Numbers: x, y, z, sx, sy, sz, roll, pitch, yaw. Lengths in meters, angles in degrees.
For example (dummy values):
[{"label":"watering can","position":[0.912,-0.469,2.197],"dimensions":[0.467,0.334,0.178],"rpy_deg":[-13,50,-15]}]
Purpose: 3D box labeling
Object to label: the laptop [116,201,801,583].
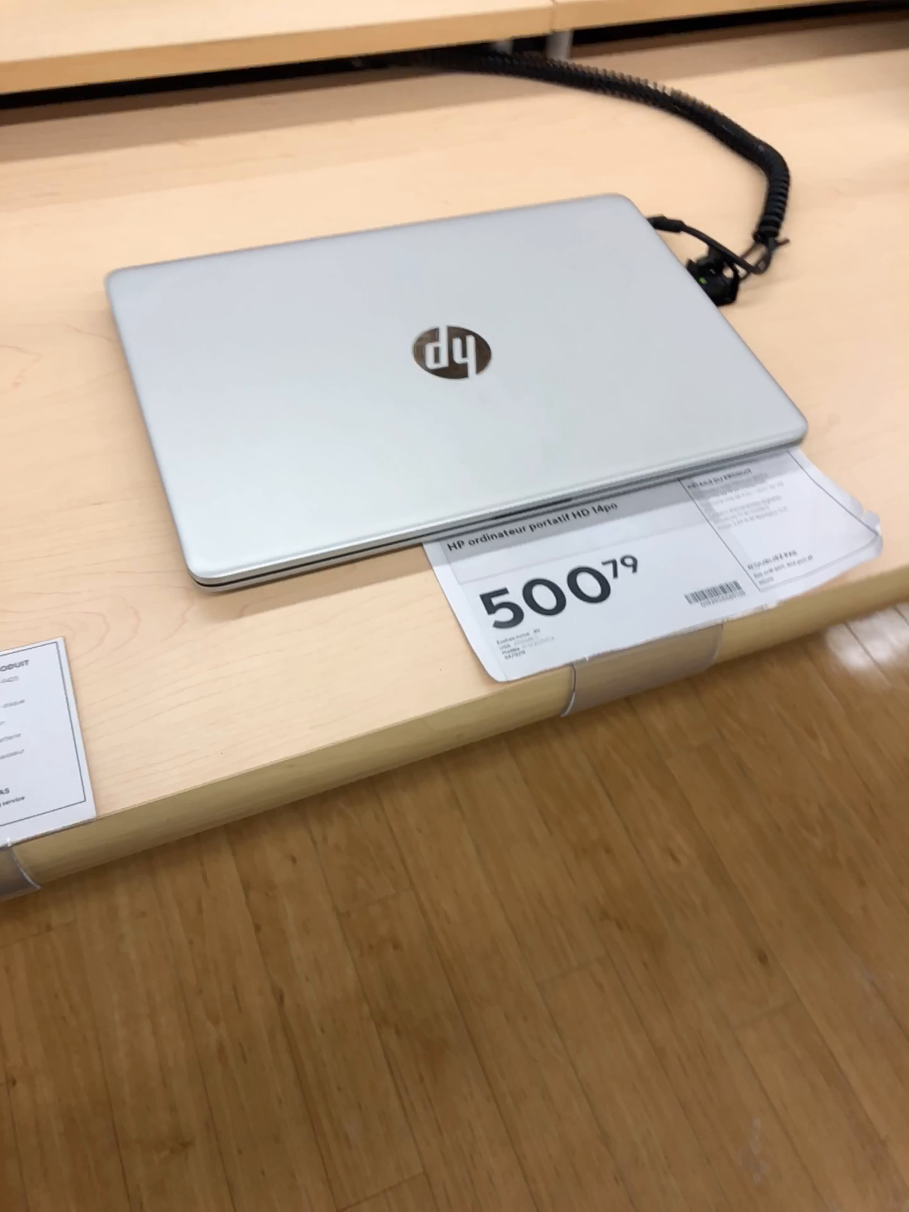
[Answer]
[{"label":"laptop","position":[0.001,-0.131,0.525],"dimensions":[0.309,0.004,0.205],"rpy_deg":[-15,58,-18]}]
